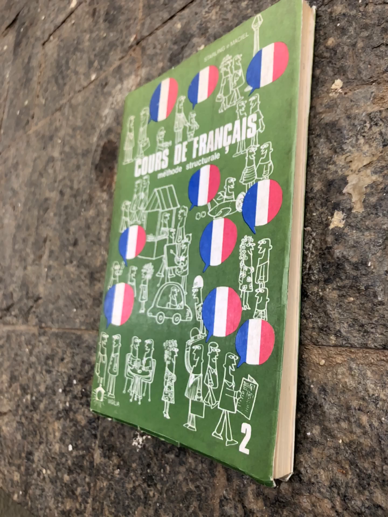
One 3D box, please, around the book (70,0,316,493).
[{"bbox_3d":[-0.013,-0.012,0.242,0.167,0.013,0.211,-5,77,49],"label":"book"}]
